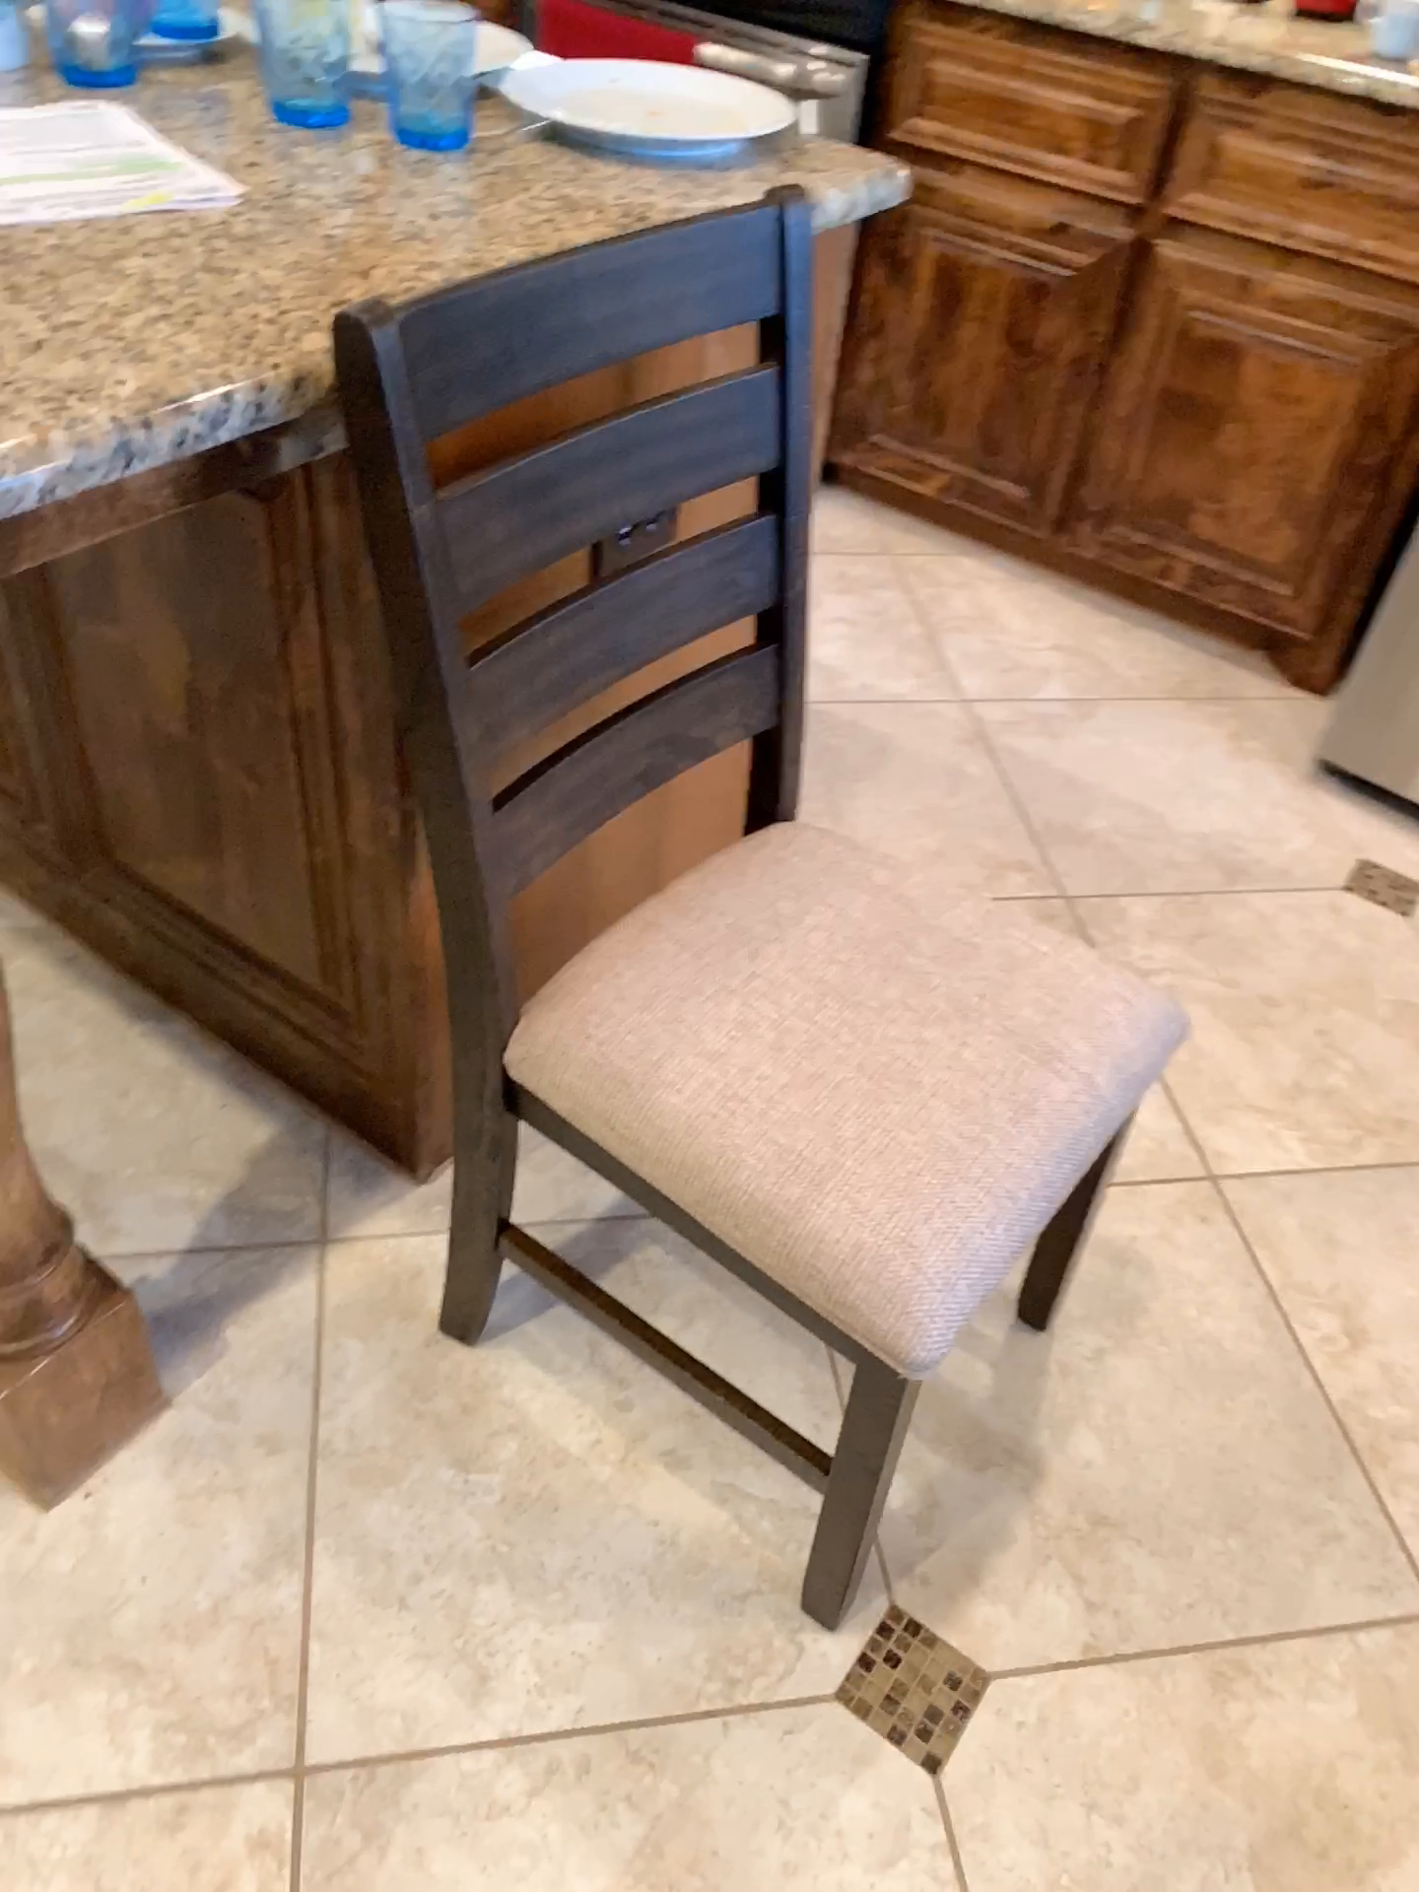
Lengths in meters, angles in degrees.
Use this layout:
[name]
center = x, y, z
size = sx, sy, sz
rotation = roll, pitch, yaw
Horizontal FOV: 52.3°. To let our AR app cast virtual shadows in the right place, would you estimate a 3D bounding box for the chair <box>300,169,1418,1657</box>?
[chair]
center = 0.088, 0.002, 1.114
size = 0.525, 0.909, 0.469
rotation = 30, 47, 23
